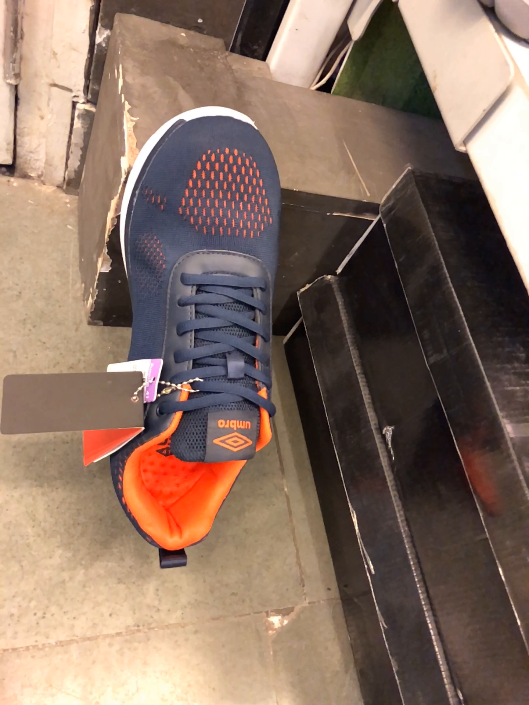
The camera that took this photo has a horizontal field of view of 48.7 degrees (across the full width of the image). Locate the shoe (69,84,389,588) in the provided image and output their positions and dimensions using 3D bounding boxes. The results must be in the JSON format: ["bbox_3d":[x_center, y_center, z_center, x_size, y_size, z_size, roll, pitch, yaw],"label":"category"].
[{"bbox_3d":[-0.044,-0.007,0.358,0.093,0.258,0.133,5,27,-29],"label":"shoe"}]
